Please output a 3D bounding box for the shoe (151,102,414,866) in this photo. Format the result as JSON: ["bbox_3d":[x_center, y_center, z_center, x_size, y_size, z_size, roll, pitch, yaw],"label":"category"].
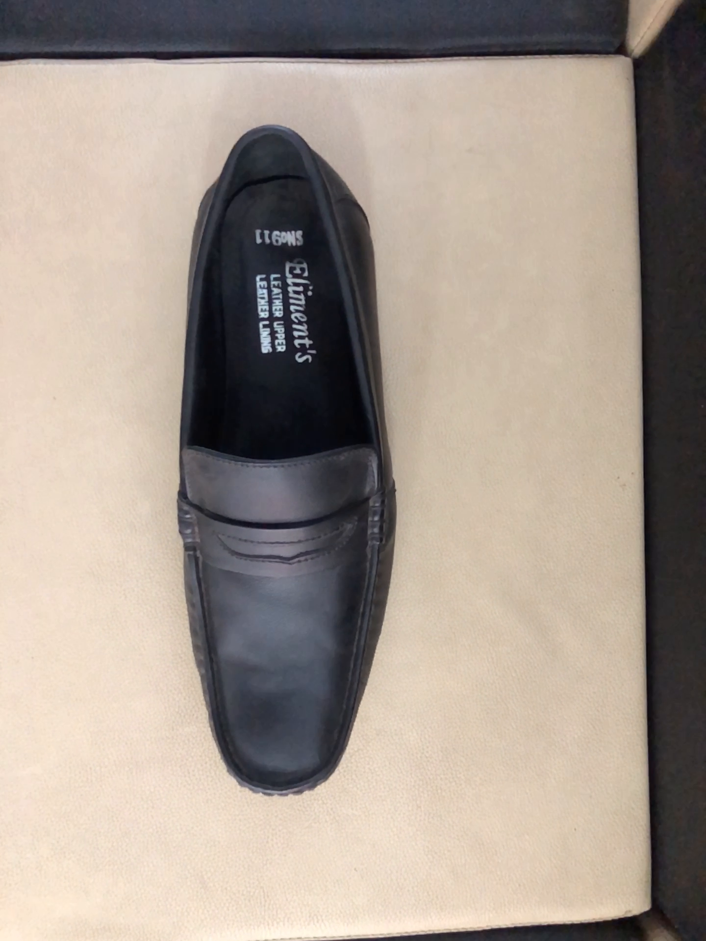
[{"bbox_3d":[-0.028,0.005,0.339,0.100,0.080,0.290,0,90,-2],"label":"shoe"}]
